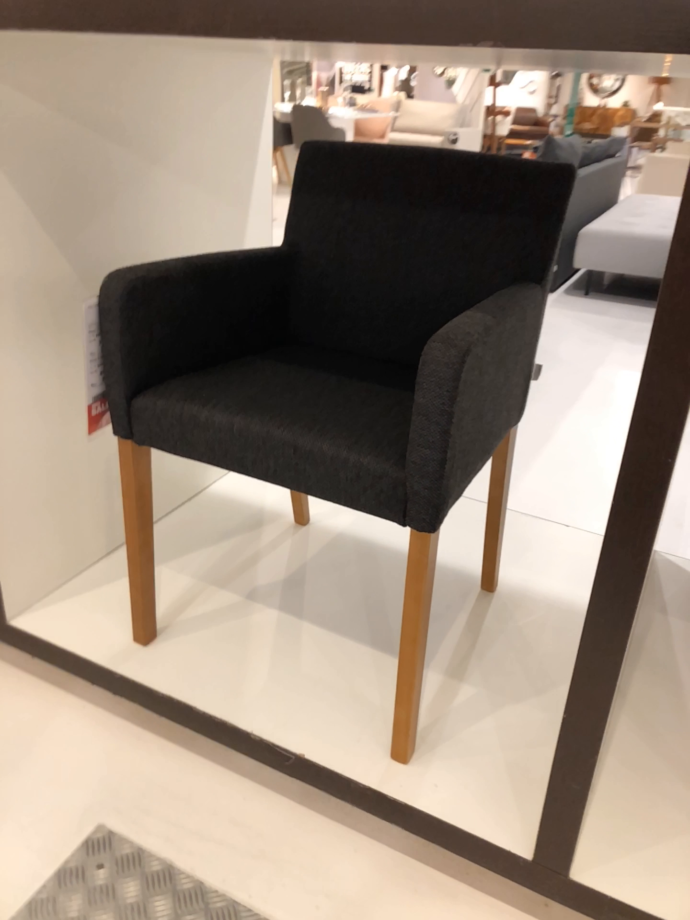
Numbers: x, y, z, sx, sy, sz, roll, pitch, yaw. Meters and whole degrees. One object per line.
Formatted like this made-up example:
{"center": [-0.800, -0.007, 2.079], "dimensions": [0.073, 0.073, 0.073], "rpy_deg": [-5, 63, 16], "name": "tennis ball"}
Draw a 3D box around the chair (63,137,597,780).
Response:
{"center": [-0.006, -0.073, 1.256], "dimensions": [0.561, 0.794, 0.563], "rpy_deg": [16, 29, 24], "name": "chair"}
